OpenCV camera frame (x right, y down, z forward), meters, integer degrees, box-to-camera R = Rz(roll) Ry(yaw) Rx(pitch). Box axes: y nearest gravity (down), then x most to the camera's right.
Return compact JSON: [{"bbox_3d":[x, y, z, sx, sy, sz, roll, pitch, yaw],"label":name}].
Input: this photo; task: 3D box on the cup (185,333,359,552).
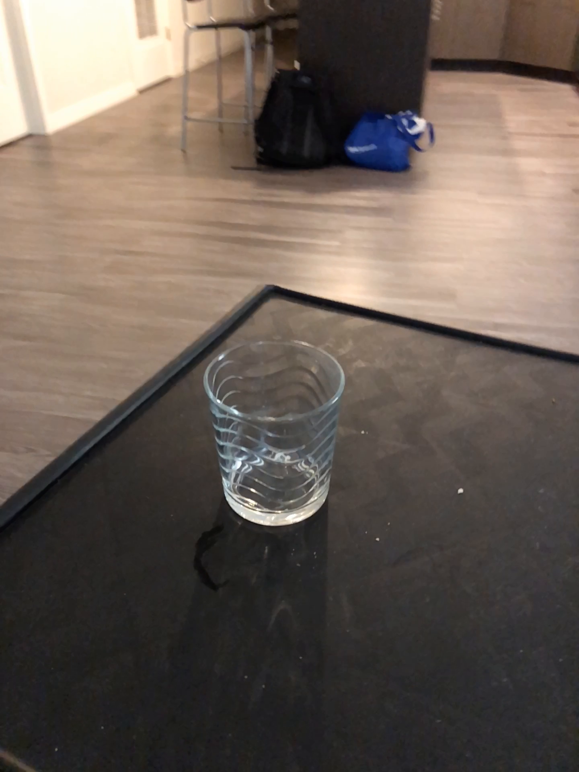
[{"bbox_3d":[-0.007,0.034,0.426,0.090,0.099,0.090,0,34,0],"label":"cup"}]
